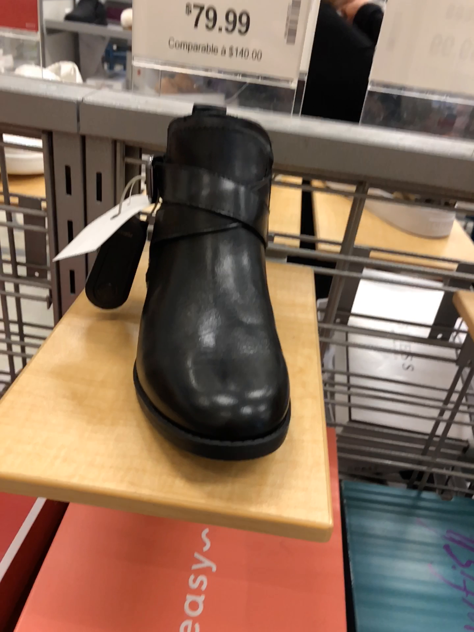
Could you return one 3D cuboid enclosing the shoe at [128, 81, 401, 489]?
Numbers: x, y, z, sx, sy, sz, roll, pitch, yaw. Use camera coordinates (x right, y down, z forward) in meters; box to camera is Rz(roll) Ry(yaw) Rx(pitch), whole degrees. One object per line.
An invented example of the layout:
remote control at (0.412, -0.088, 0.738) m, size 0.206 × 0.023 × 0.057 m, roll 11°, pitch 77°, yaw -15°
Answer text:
shoe at (-0.014, -0.039, 0.299) m, size 0.090 × 0.133 × 0.222 m, roll 1°, pitch 32°, yaw -12°
